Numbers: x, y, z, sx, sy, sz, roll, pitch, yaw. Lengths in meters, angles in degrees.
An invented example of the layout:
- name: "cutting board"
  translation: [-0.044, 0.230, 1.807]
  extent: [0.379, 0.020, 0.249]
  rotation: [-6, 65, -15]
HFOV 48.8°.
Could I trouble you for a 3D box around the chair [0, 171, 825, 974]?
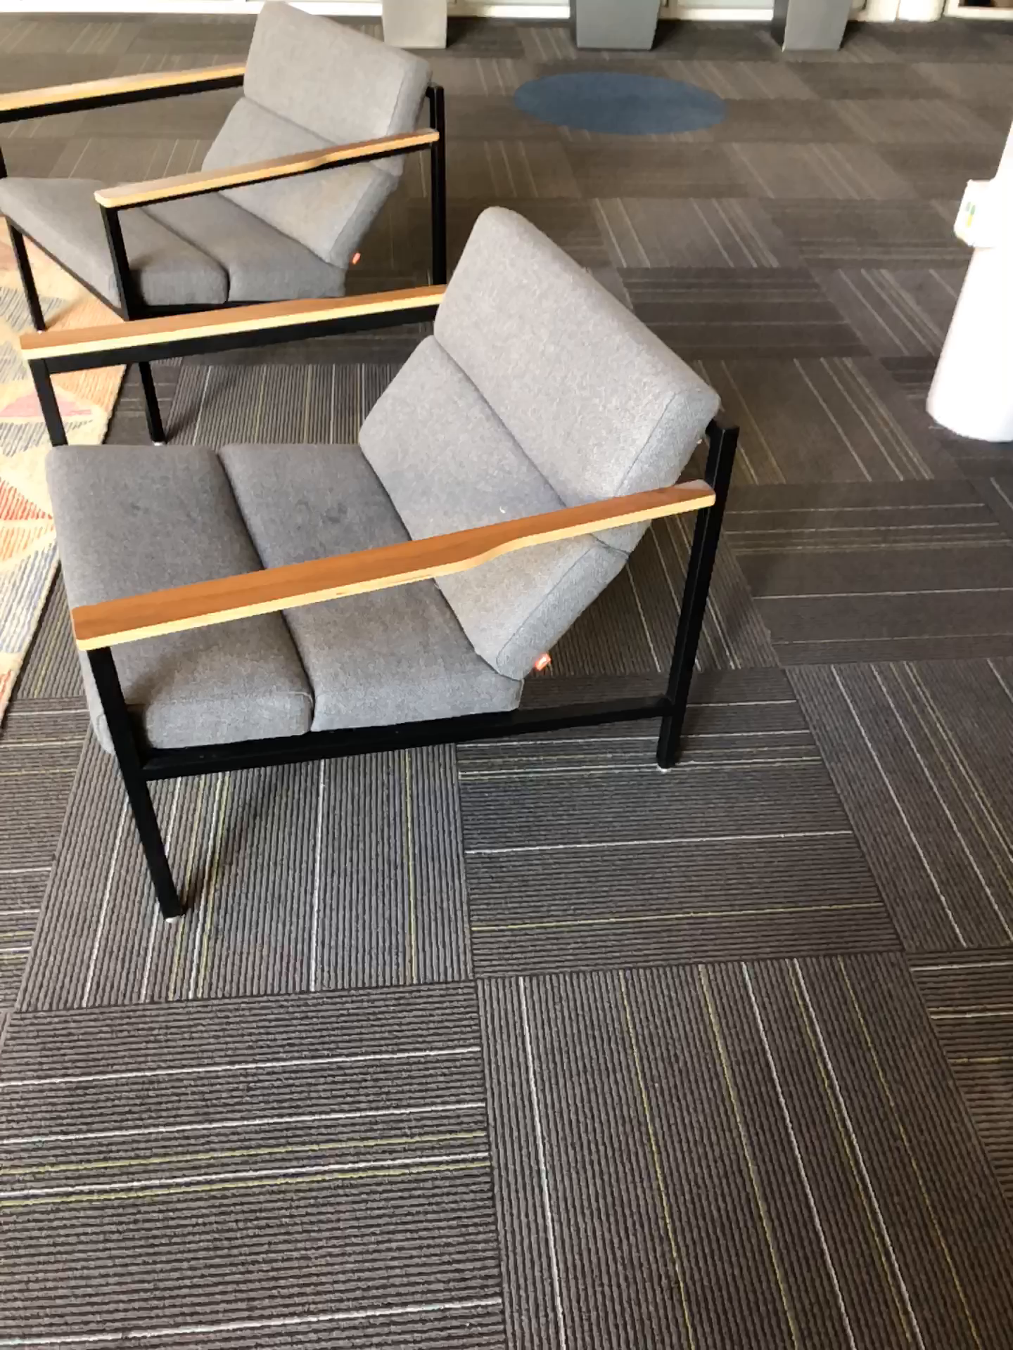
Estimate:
- name: "chair"
  translation: [-0.201, -0.222, 1.699]
  extent: [0.920, 0.696, 0.794]
  rotation: [-17, 44, -18]
